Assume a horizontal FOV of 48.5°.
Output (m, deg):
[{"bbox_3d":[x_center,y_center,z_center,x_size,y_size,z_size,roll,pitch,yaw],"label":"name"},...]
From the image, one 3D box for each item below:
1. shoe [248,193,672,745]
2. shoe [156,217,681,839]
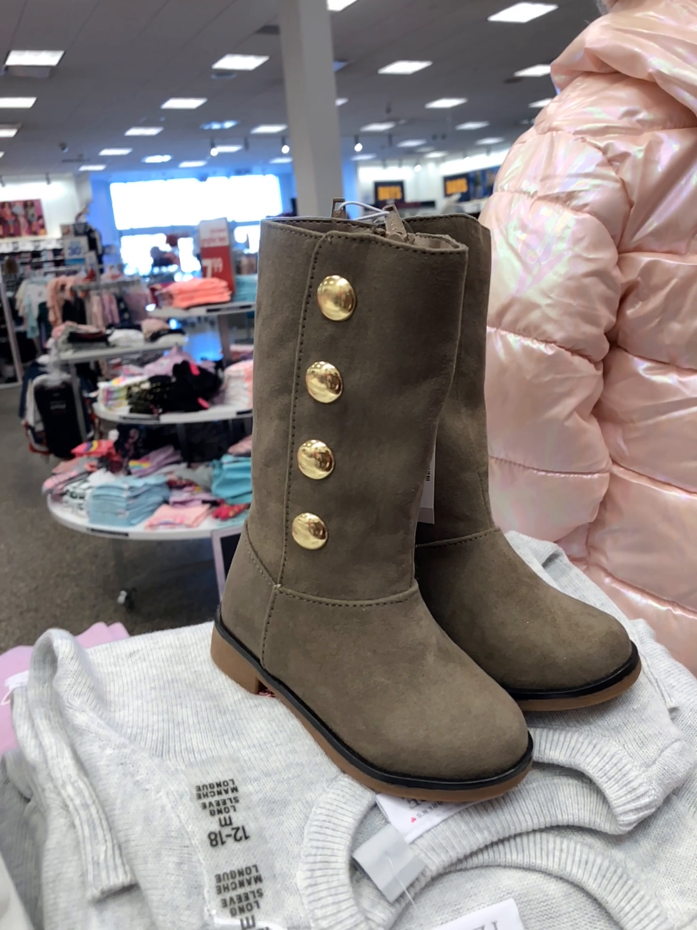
[{"bbox_3d":[0.045,-0.007,0.322,0.148,0.184,0.070,8,20,40],"label":"shoe"},{"bbox_3d":[0.010,0.006,0.276,0.155,0.164,0.070,21,28,36],"label":"shoe"}]
